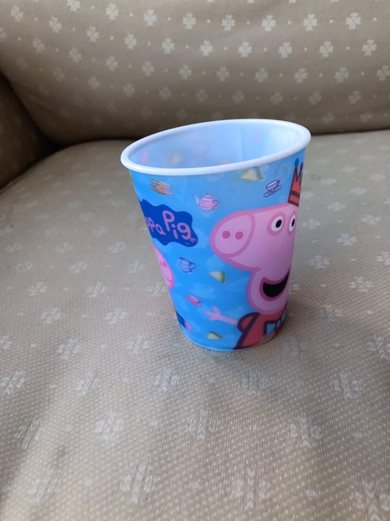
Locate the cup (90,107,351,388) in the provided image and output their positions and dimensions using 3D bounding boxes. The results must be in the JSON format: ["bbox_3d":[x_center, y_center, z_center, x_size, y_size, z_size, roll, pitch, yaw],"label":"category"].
[{"bbox_3d":[0.014,-0.015,0.237,0.091,0.100,0.087,-4,32,2],"label":"cup"}]
